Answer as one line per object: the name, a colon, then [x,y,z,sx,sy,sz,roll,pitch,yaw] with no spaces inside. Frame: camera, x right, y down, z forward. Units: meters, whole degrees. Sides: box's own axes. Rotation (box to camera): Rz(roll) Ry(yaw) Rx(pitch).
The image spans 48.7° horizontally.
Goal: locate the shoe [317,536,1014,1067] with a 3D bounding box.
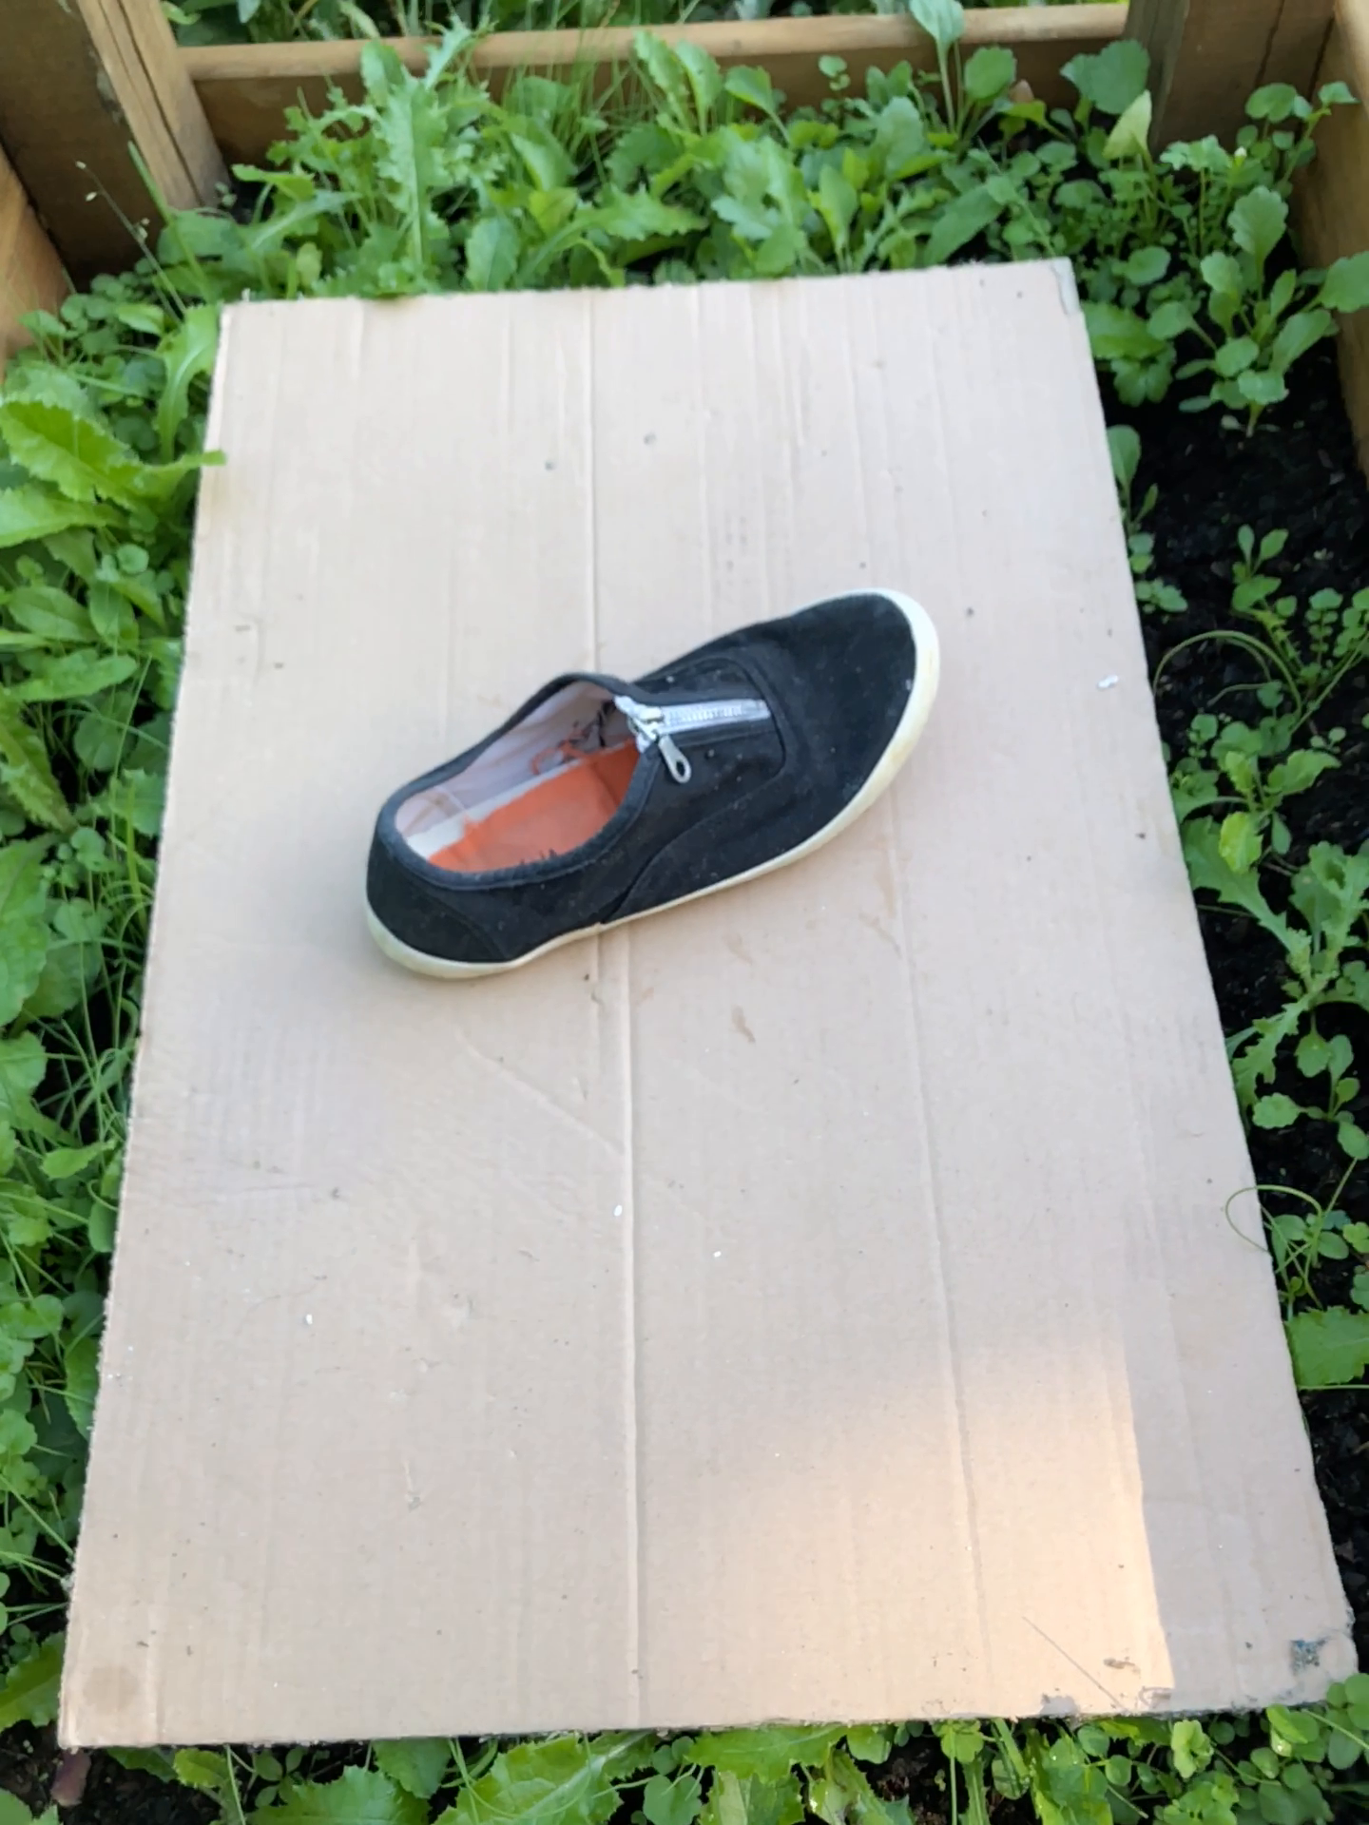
shoe: [-0.006,-0.046,0.593,0.240,0.070,0.100,-25,65,-12]
